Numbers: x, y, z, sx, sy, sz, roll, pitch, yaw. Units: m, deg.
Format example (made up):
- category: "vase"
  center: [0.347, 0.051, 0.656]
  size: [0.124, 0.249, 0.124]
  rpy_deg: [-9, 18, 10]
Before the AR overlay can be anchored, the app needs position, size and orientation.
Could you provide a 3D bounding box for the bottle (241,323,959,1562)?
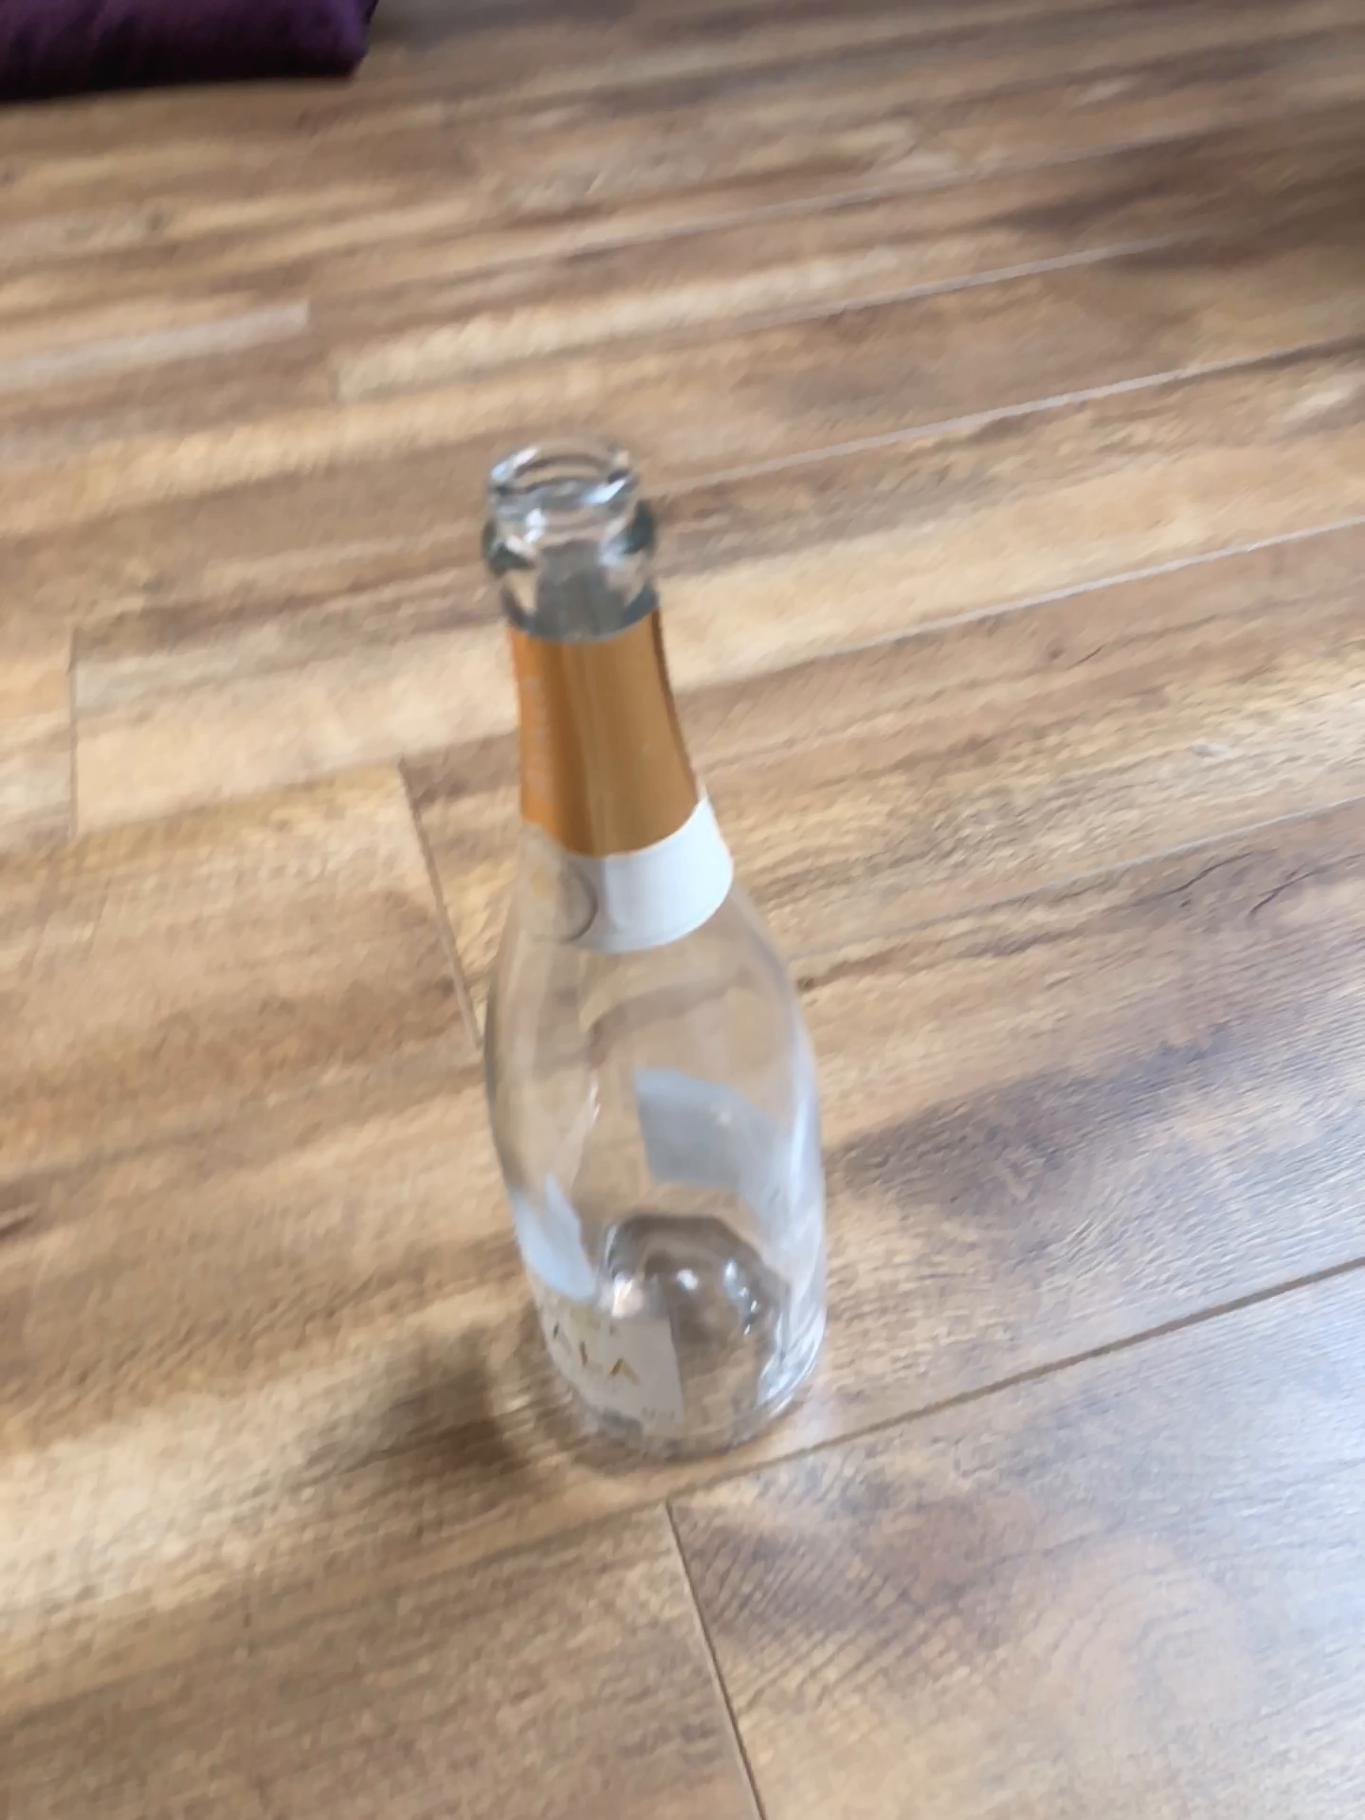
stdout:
- category: "bottle"
  center: [-0.003, 0.031, 0.365]
  size: [0.090, 0.298, 0.090]
  rpy_deg: [-4, 43, 3]
